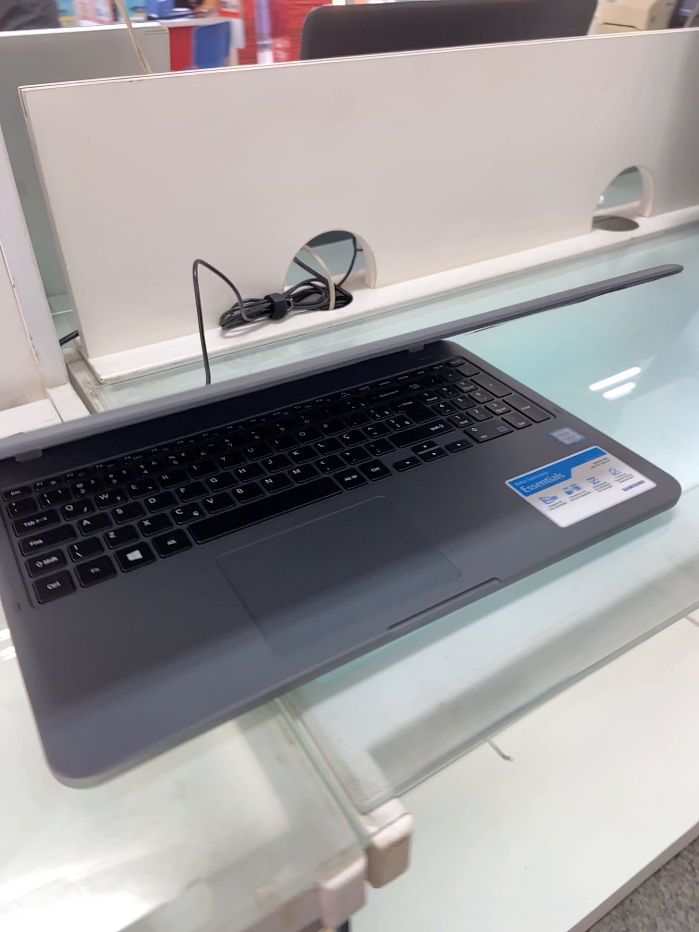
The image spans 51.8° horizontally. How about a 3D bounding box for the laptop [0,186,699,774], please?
[{"bbox_3d":[-0.012,-0.043,0.410,0.368,0.126,0.238,-19,40,-26],"label":"laptop"}]
